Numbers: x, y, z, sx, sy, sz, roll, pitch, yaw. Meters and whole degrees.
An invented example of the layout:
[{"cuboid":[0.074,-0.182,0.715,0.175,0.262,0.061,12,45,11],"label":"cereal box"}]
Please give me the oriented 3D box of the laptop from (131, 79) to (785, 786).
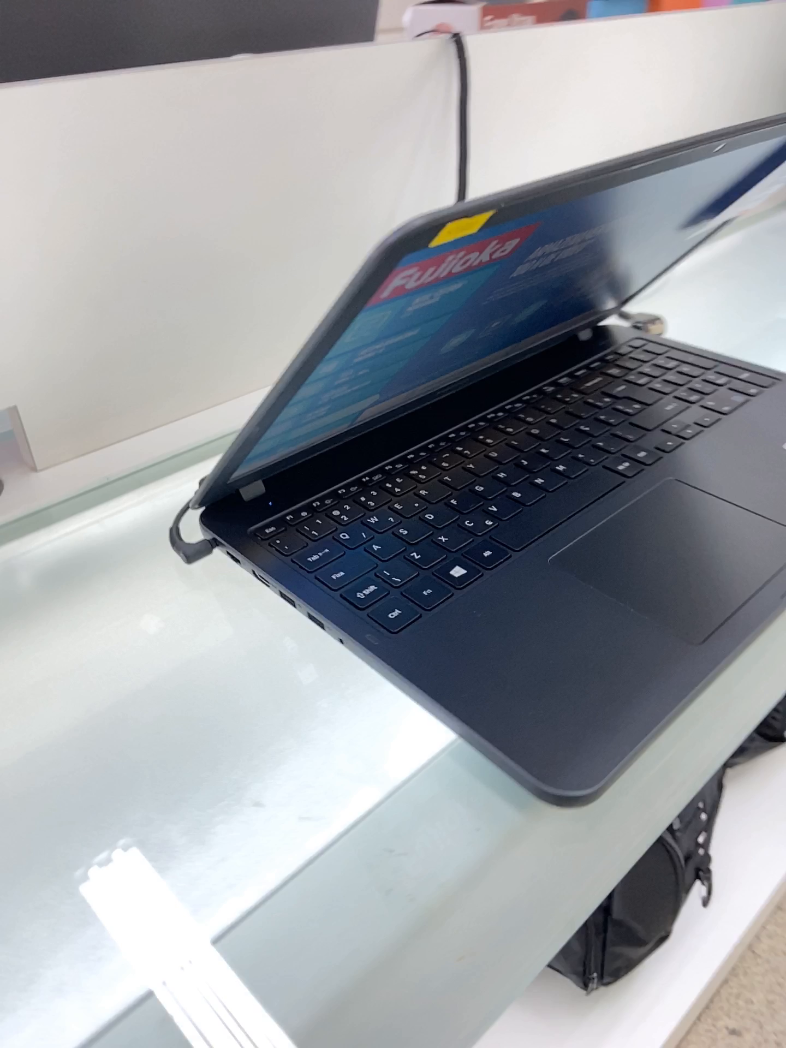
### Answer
[{"cuboid":[0.115,-0.104,0.411,0.373,0.173,0.246,-29,42,-34],"label":"laptop"}]
